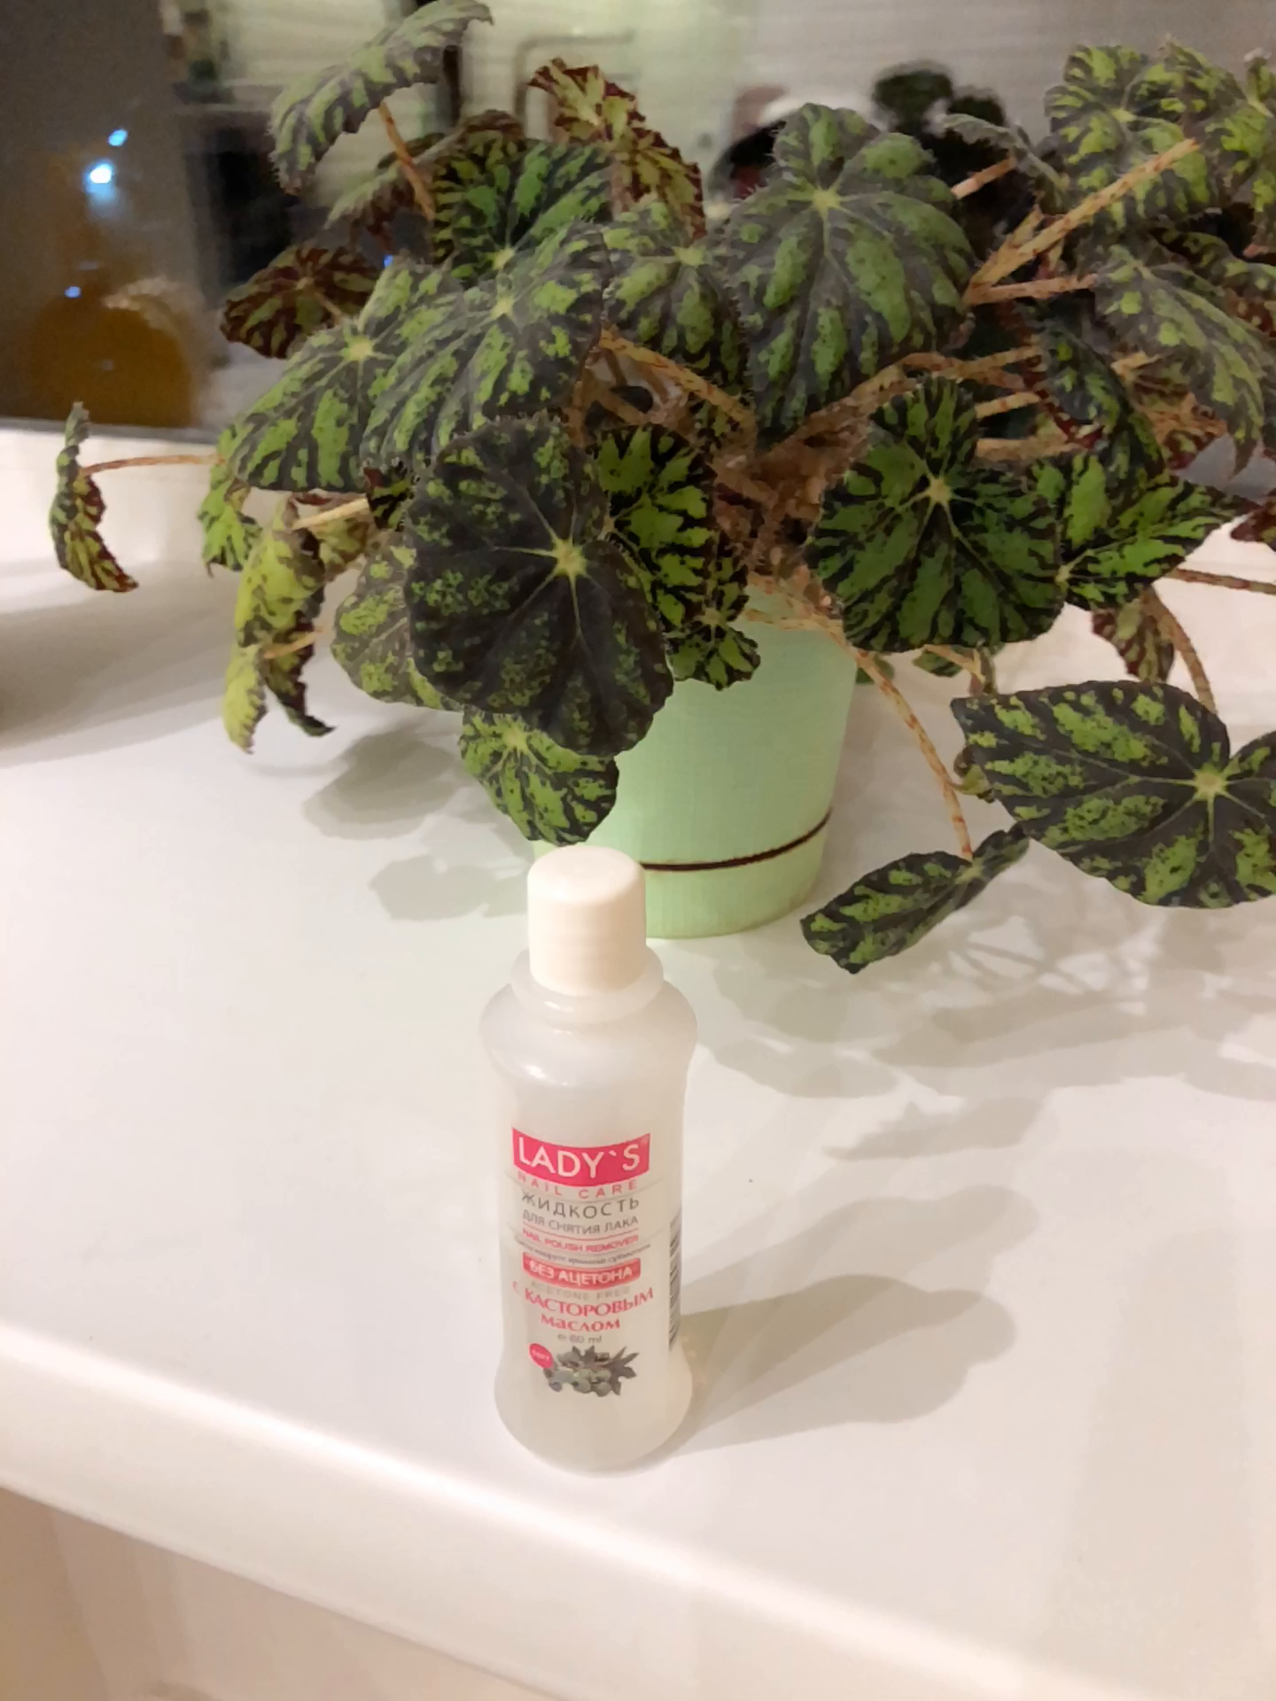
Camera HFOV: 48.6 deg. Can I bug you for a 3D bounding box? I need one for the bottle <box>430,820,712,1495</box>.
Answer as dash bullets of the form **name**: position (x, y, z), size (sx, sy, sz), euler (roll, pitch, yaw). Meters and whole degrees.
- **bottle**: position (-0.007, 0.051, 0.229), size (0.037, 0.105, 0.037), euler (-1, 26, 0)
